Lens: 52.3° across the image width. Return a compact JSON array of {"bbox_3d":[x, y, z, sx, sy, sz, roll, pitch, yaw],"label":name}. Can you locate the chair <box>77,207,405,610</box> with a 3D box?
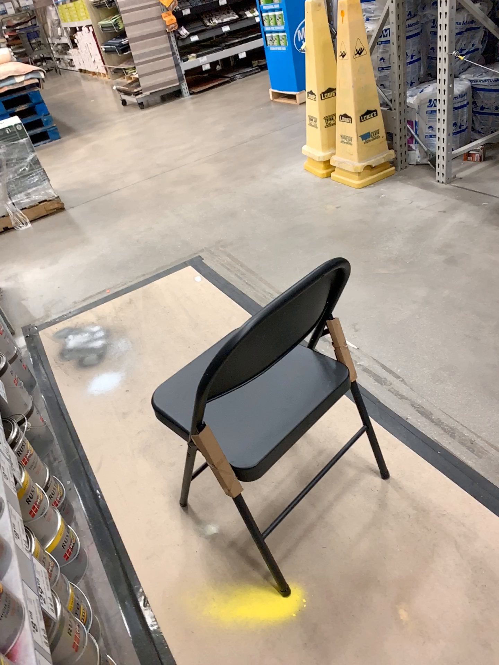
[{"bbox_3d":[0.028,0.158,1.226,0.452,0.713,0.476,-36,41,-28],"label":"chair"}]
